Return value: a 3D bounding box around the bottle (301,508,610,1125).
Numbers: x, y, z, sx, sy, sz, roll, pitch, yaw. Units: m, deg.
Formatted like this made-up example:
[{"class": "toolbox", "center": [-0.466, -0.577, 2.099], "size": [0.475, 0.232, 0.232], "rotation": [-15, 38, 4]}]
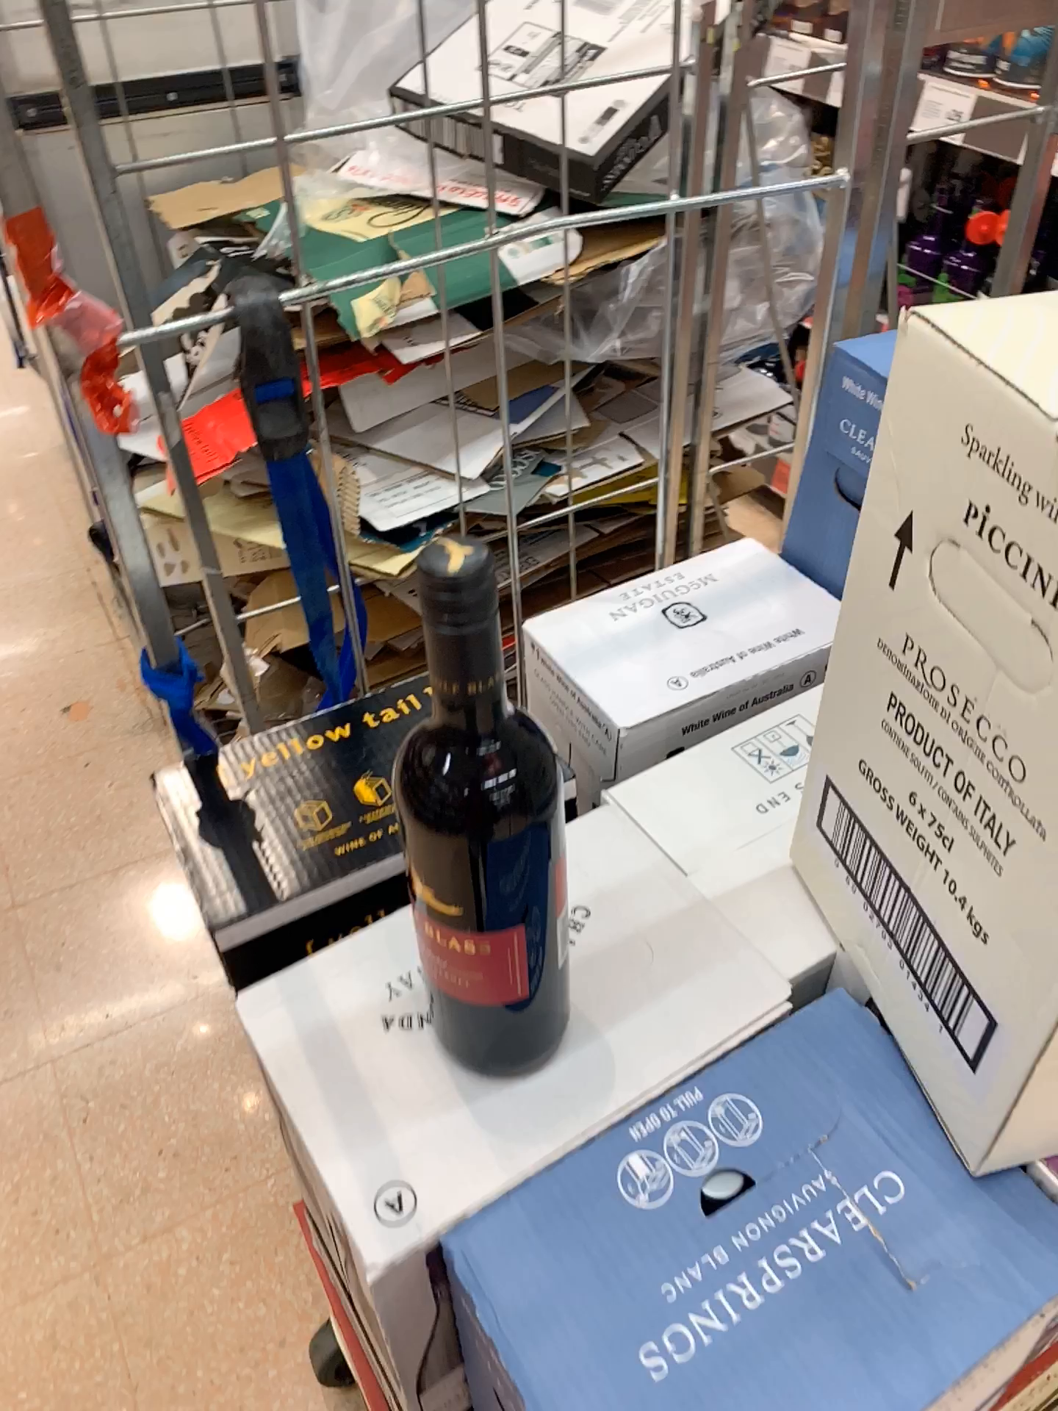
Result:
[{"class": "bottle", "center": [-0.025, 0.062, 0.469], "size": [0.076, 0.270, 0.080], "rotation": [0, 41, 0]}]
